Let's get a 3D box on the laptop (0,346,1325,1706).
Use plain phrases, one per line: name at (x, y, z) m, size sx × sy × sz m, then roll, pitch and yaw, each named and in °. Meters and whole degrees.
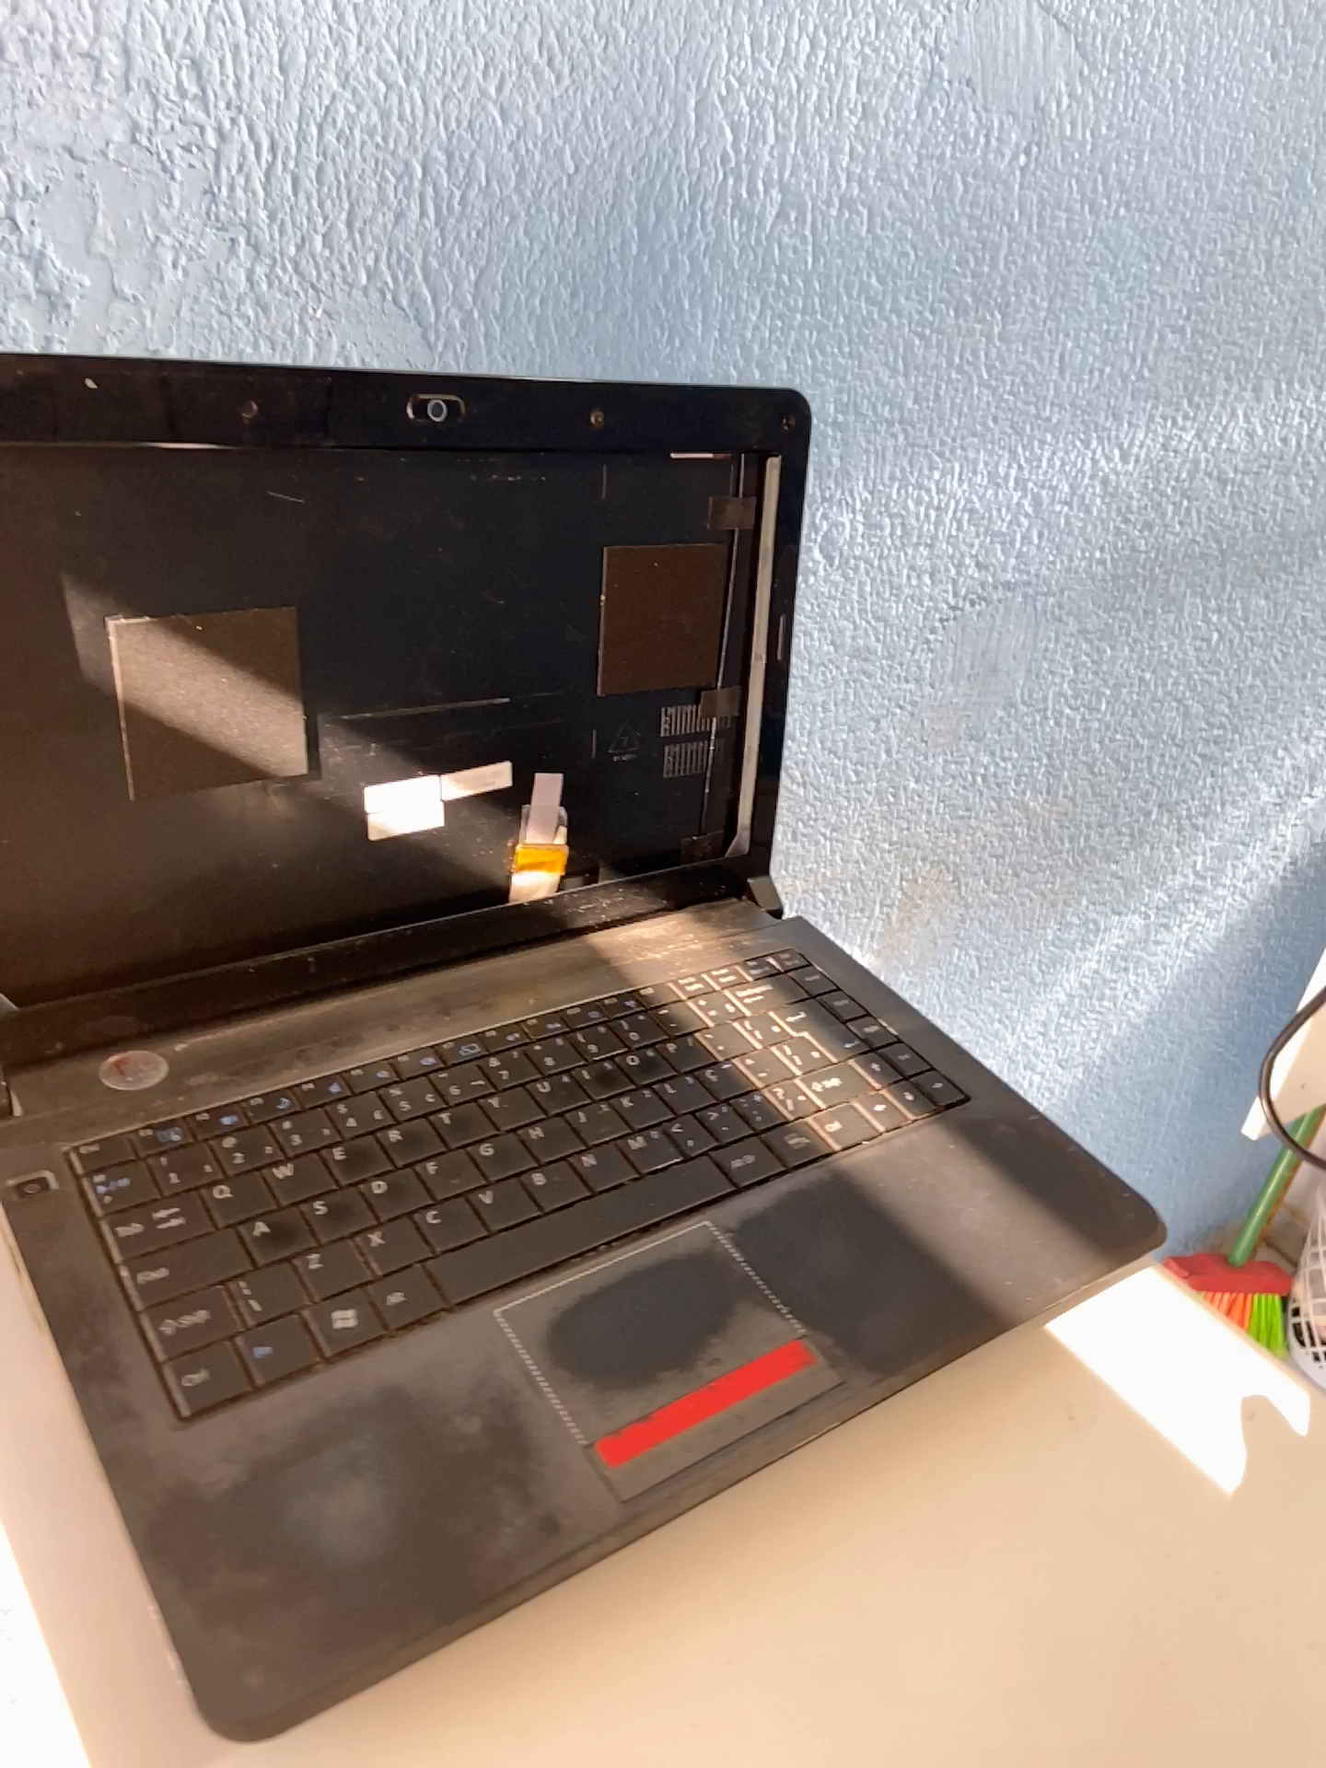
laptop at (-0.021, -0.011, 0.430) m, size 0.335 × 0.216 × 0.277 m, roll -12°, pitch 37°, yaw -35°
